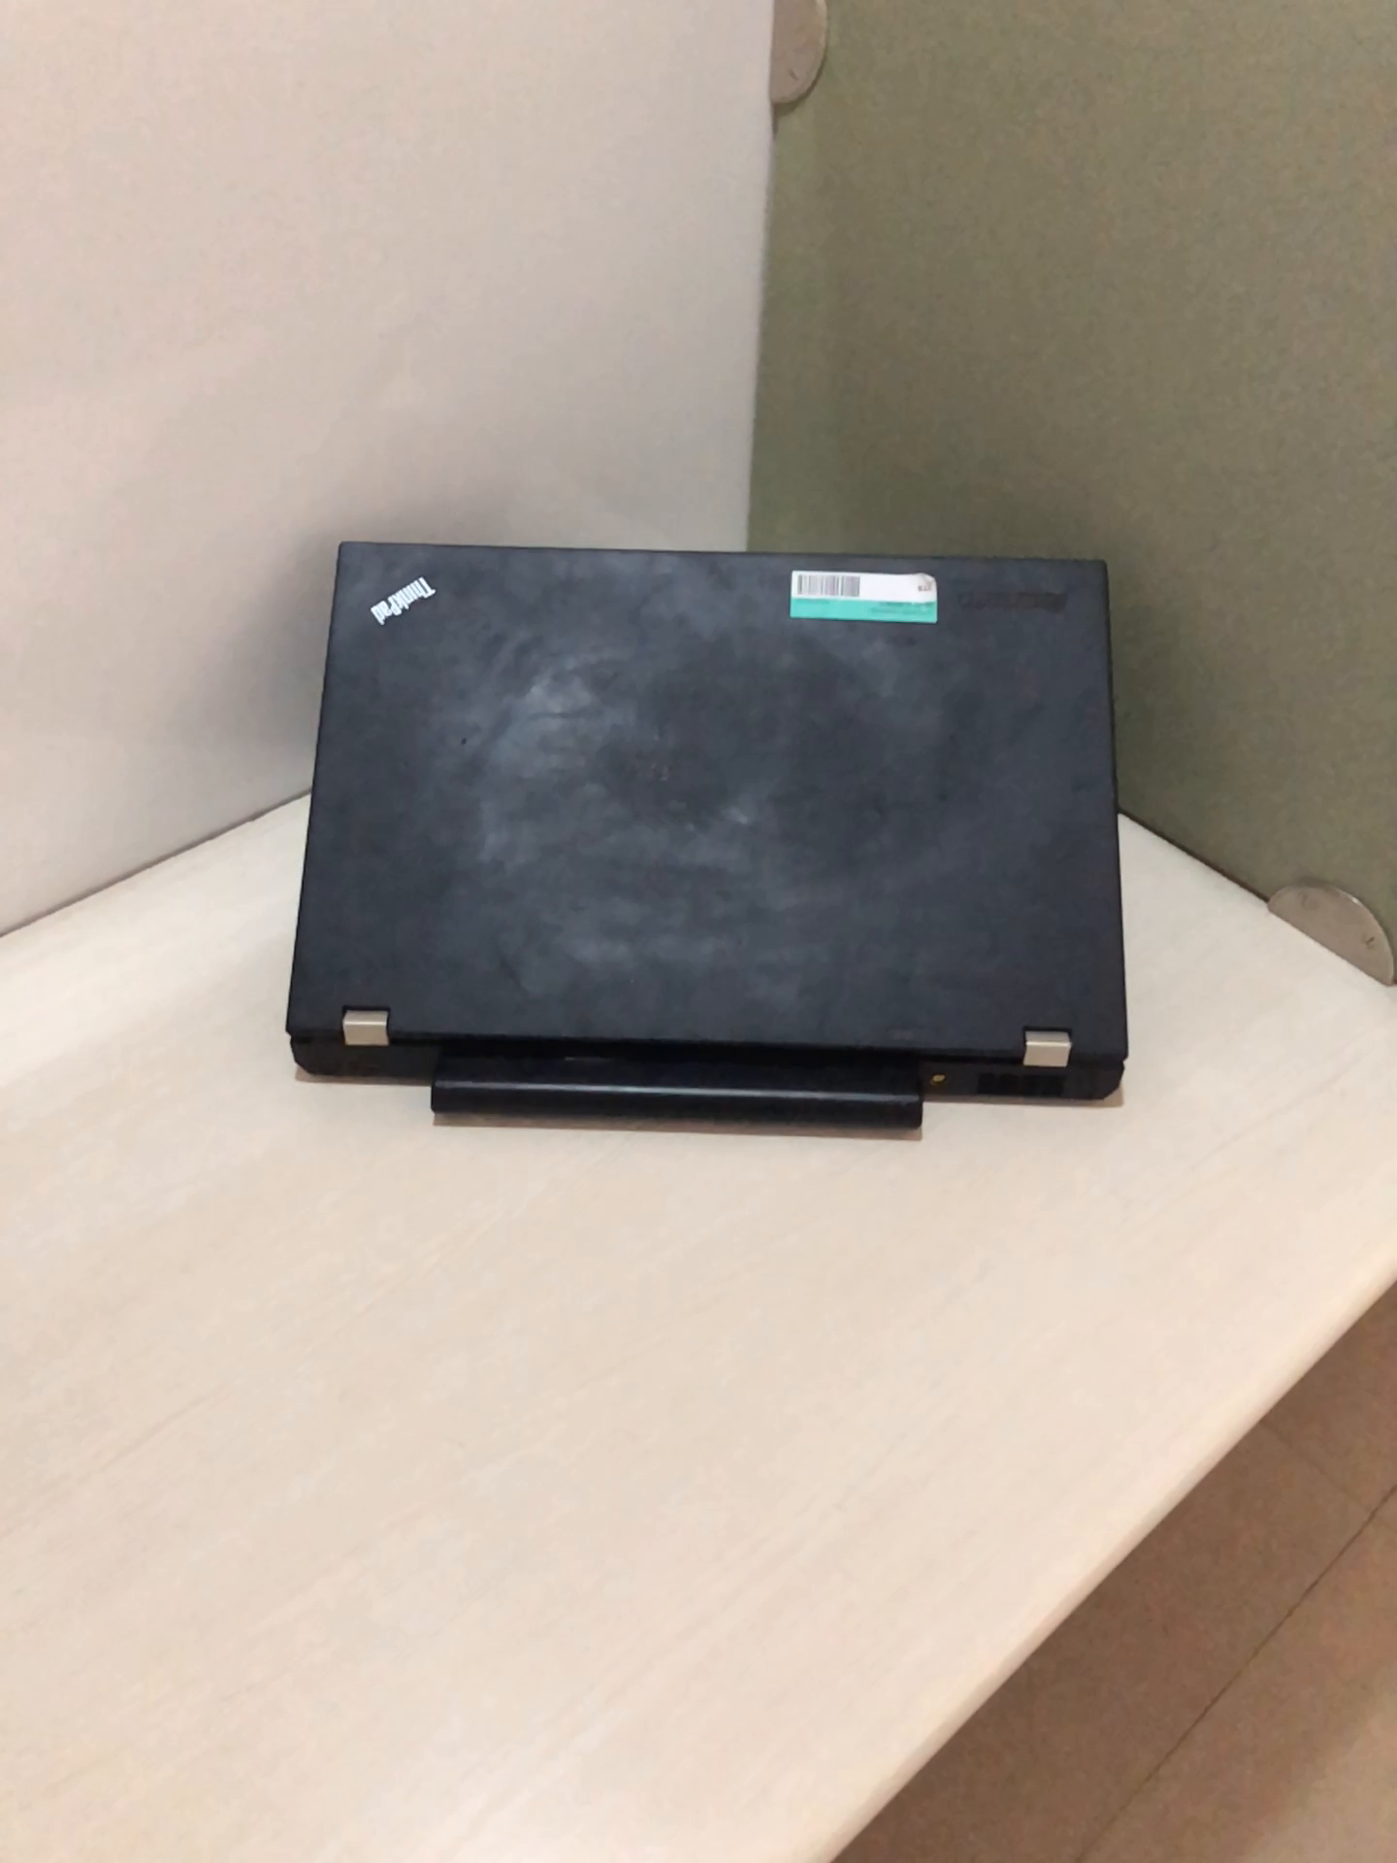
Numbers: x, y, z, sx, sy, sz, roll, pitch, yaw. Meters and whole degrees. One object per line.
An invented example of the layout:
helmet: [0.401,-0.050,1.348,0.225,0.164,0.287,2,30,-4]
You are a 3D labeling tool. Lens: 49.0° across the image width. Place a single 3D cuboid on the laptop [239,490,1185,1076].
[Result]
laptop: [0.008,-0.075,0.703,0.354,0.140,0.233,1,45,2]
